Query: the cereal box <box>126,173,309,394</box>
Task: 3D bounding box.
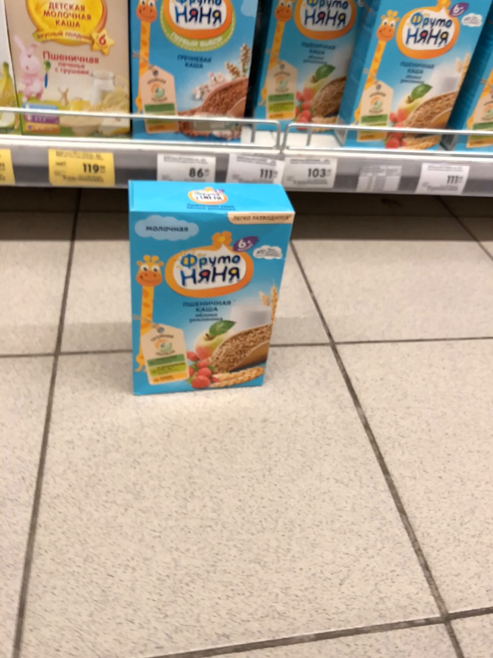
[{"bbox_3d":[-0.035,-0.036,0.507,0.140,0.199,0.060,-3,41,-13],"label":"cereal box"}]
